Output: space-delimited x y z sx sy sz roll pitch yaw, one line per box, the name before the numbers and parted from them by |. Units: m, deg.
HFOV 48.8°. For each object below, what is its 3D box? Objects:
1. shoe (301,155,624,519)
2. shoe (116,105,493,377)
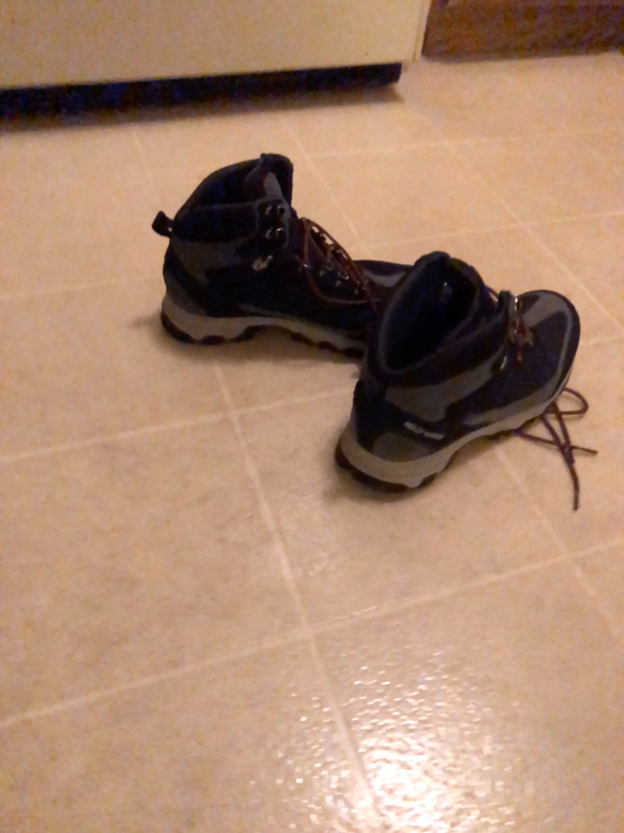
shoe | 0.150 -0.078 0.610 0.300 0.195 0.116 -28 56 -27
shoe | -0.008 -0.167 0.677 0.309 0.195 0.127 5 47 0
